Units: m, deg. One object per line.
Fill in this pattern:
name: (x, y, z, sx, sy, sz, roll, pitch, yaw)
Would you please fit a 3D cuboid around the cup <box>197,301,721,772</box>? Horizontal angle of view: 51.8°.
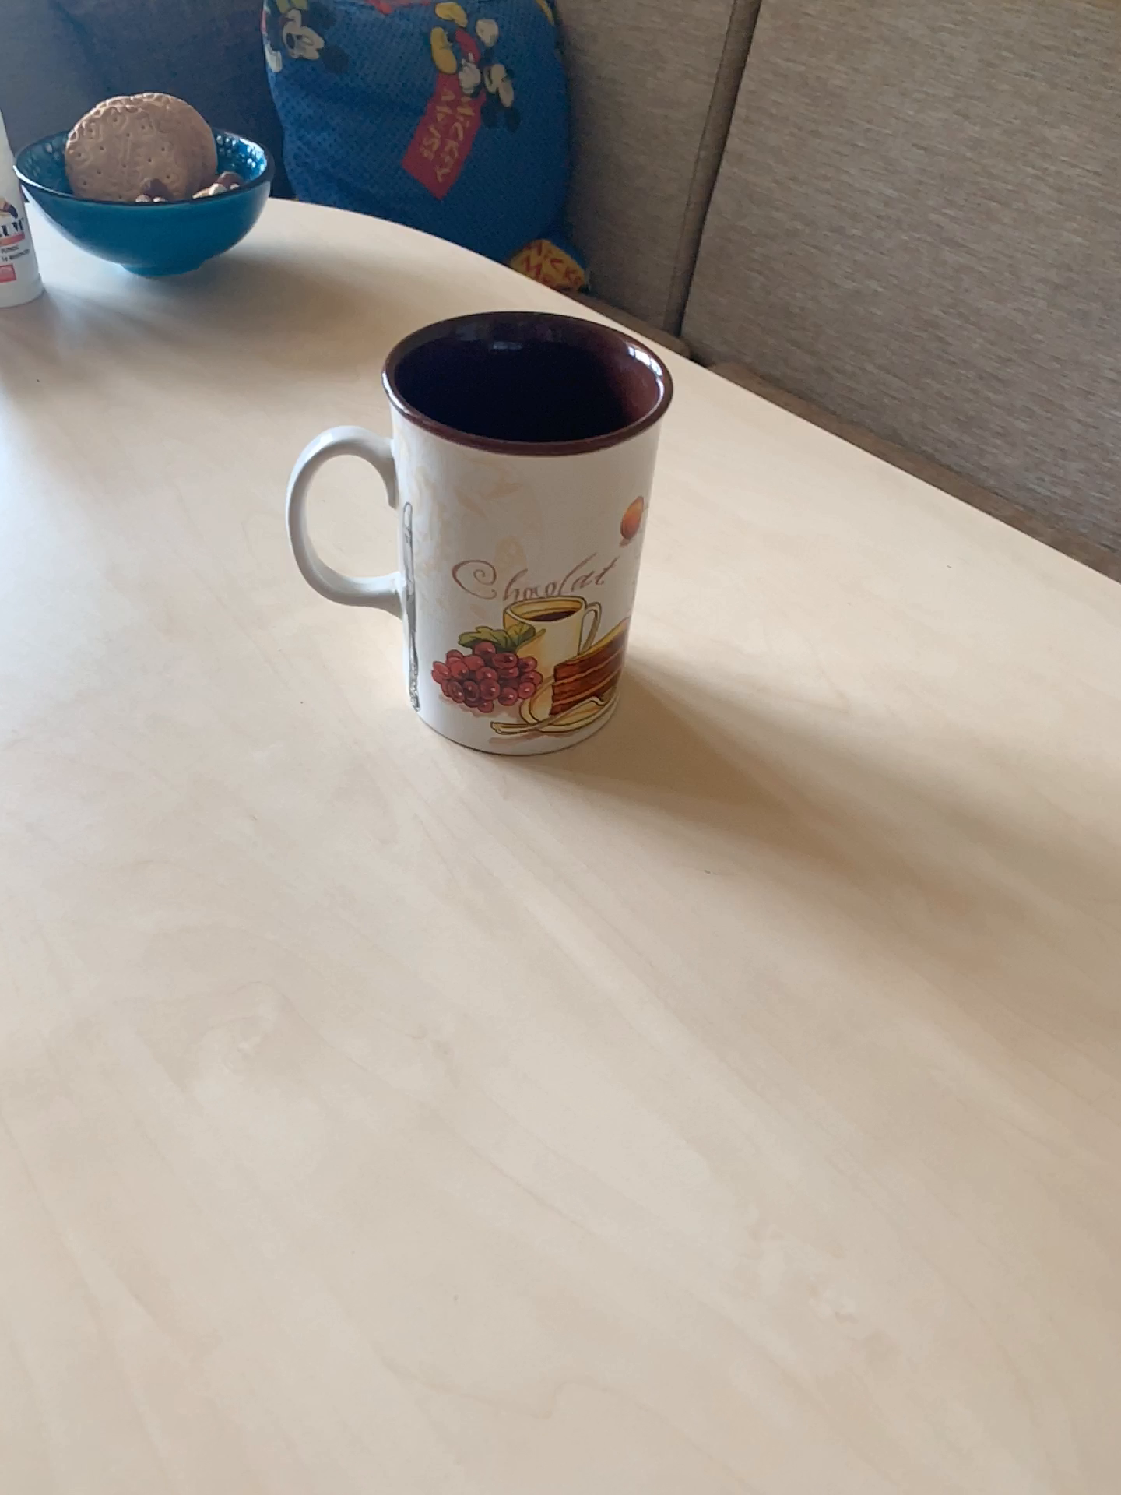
cup: (-0.030, -0.063, 0.357, 0.130, 0.110, 0.090, 0, 43, -5)
